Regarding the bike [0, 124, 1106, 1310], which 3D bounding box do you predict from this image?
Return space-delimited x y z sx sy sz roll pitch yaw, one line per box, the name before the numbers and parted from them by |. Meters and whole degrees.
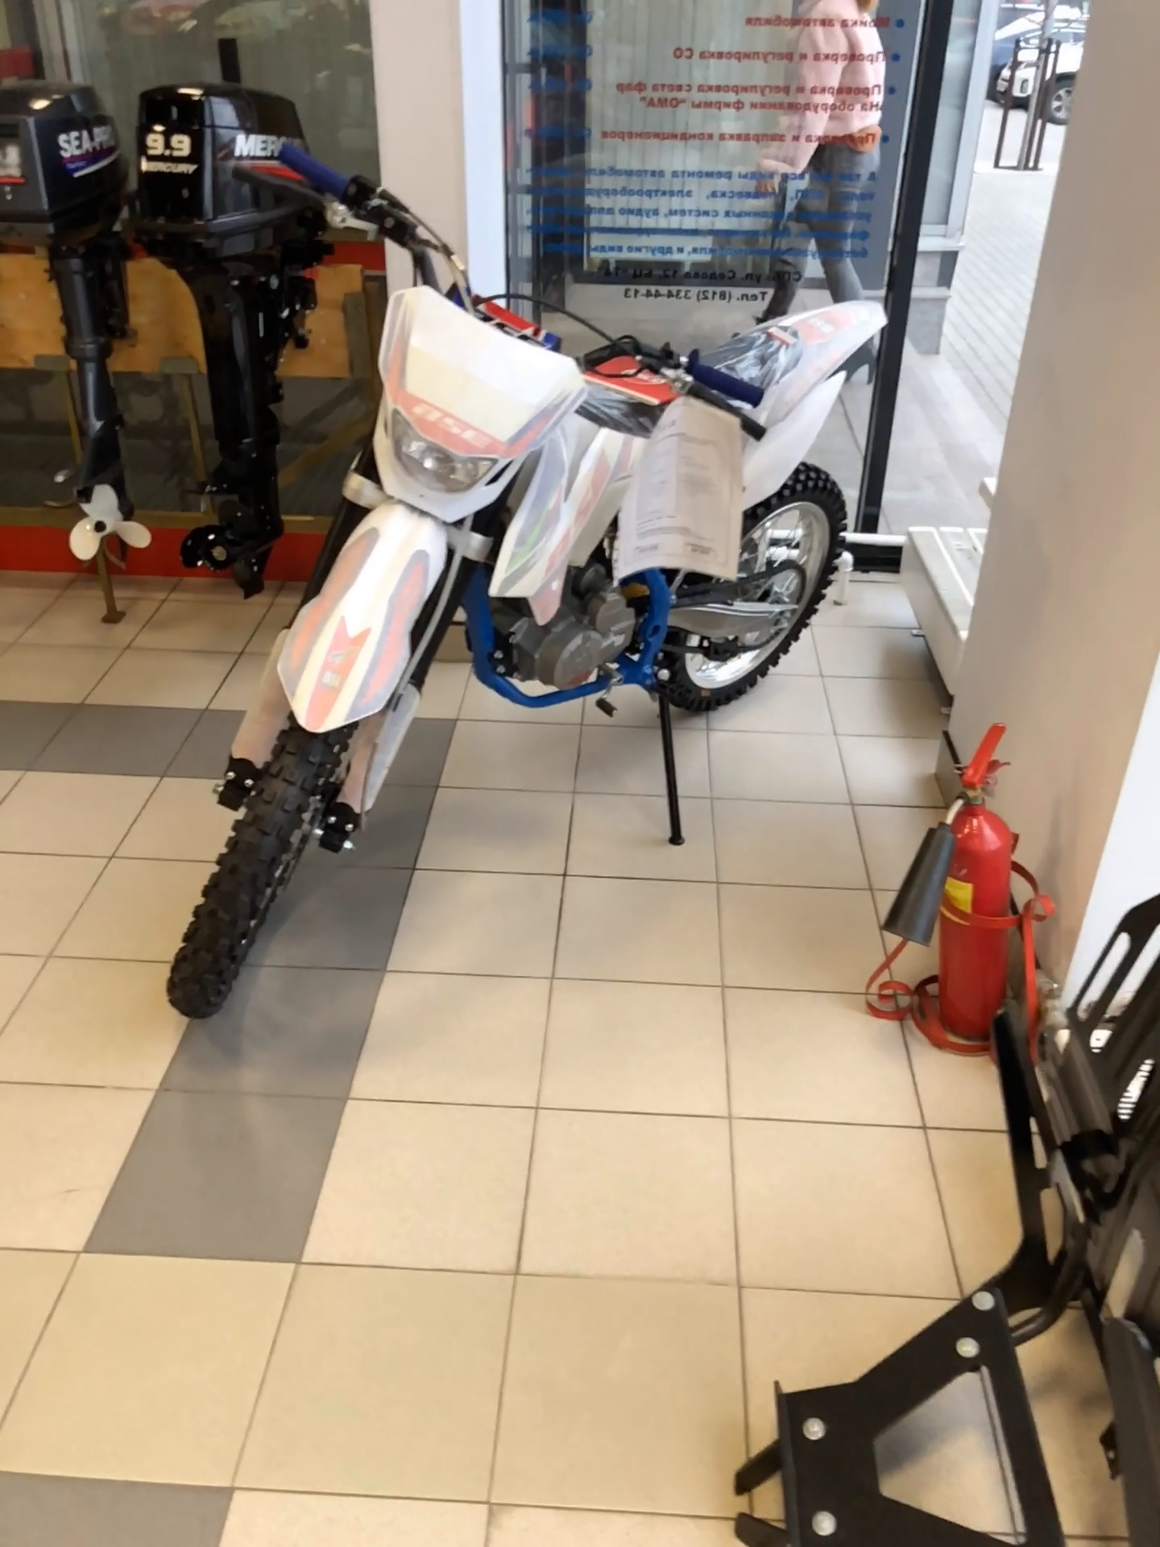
bike | 0.102 -0.359 2.269 0.844 1.219 1.851 22 38 30
